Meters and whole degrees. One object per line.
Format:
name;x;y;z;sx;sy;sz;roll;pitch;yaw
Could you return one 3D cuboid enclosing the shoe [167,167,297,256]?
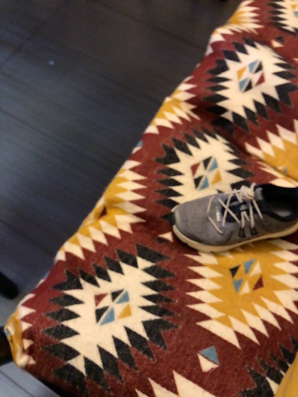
shoe;0.136;0.020;0.453;0.211;0.074;0.094;-2;67;-2
